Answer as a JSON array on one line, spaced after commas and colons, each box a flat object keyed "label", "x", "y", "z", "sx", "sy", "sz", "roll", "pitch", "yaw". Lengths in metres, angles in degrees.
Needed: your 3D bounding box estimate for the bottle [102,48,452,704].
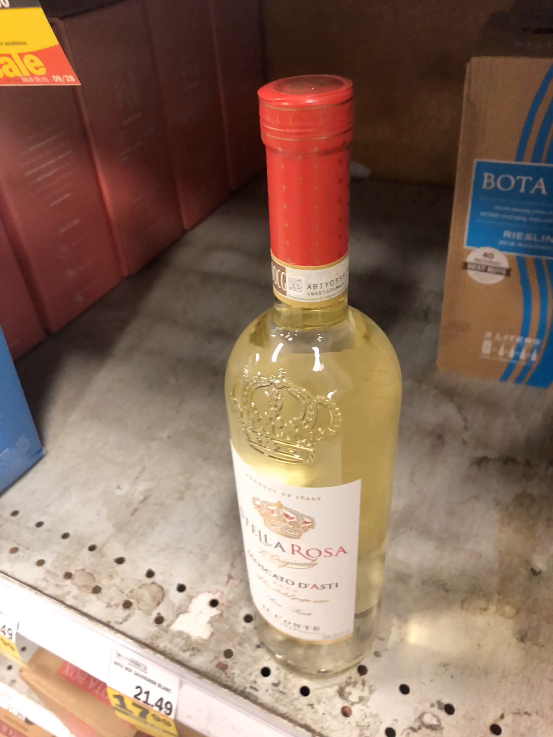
[{"label": "bottle", "x": 0.017, "y": 0.039, "z": 0.281, "sx": 0.080, "sy": 0.319, "sz": 0.070, "roll": 11, "pitch": 44, "yaw": 20}]
